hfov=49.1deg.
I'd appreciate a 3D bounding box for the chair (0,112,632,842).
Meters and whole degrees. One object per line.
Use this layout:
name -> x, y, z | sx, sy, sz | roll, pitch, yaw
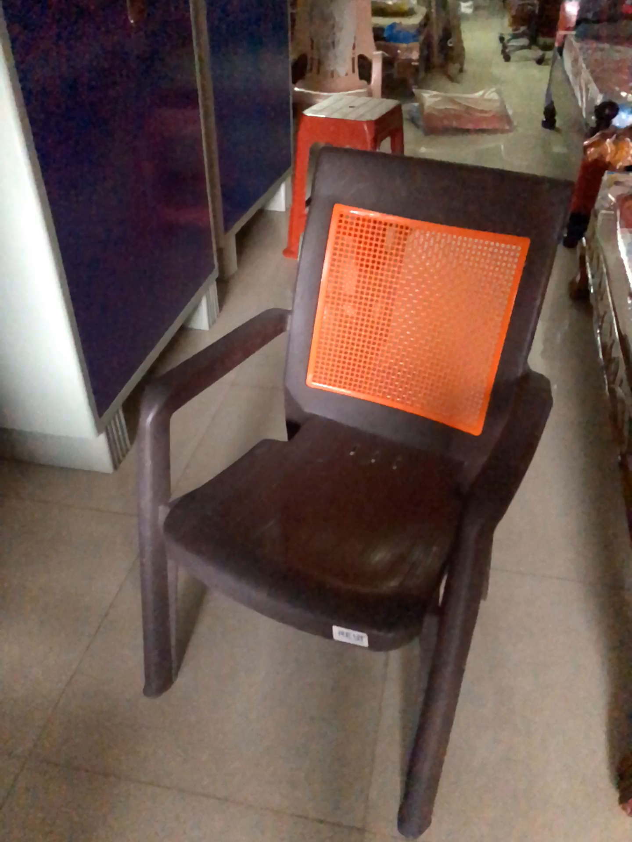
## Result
chair -> 0.034, 0.071, 1.220 | 0.710, 0.935, 0.714 | 17, 41, 22
